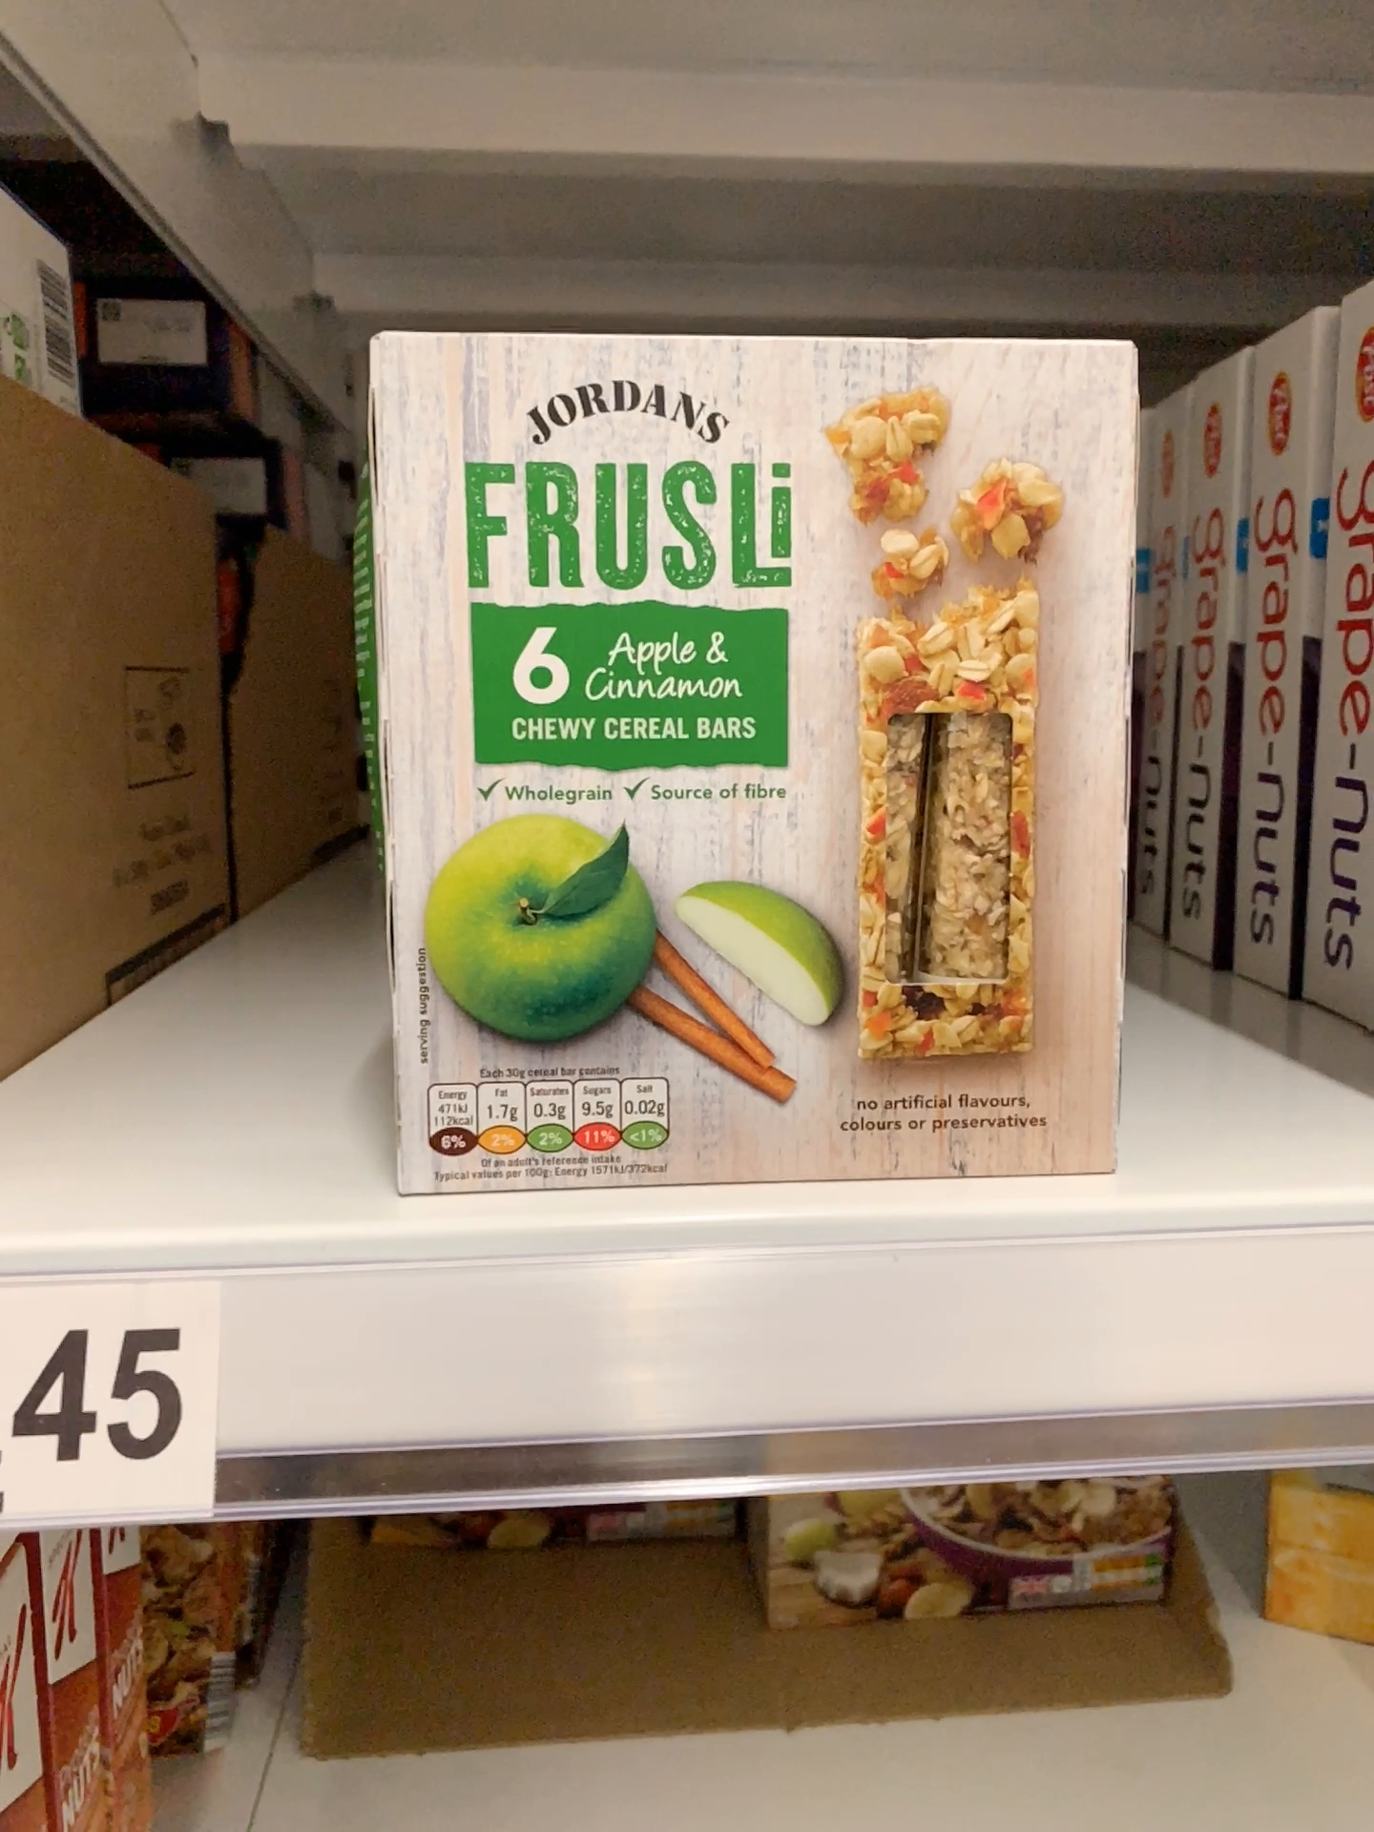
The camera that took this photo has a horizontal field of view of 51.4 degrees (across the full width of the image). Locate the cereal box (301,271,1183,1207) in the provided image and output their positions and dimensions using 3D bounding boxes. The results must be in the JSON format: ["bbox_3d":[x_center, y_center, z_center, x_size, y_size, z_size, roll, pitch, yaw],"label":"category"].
[{"bbox_3d":[0.009,-0.032,0.276,0.150,0.159,0.050,-1,8,-5],"label":"cereal box"}]
